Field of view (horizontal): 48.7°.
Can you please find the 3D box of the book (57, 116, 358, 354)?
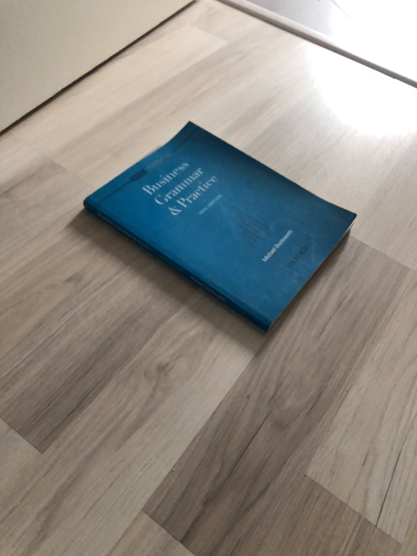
[{"bbox_3d":[0.002,-0.078,0.592,0.300,0.040,0.231,34,56,17],"label":"book"}]
